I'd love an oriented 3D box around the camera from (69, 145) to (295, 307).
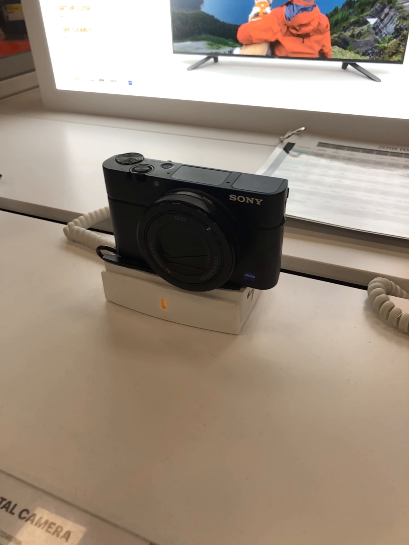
[{"bbox_3d":[-0.012,-0.029,0.253,0.110,0.060,0.040,12,37,20],"label":"camera"}]
